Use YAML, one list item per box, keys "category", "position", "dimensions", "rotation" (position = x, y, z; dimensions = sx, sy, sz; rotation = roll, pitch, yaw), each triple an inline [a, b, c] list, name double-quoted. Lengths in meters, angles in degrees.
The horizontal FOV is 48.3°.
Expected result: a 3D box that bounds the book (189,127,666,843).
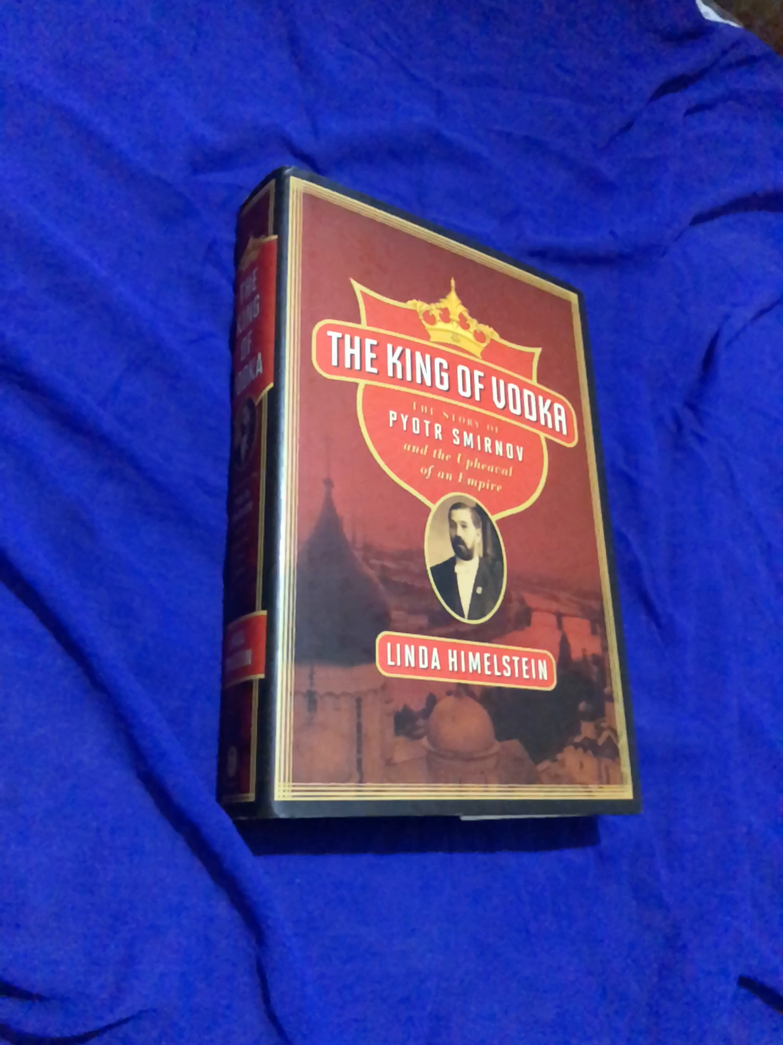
- category: "book"
  position: [0.013, -0.010, 0.348]
  dimensions: [0.171, 0.050, 0.250]
  rotation: [10, 66, -32]
